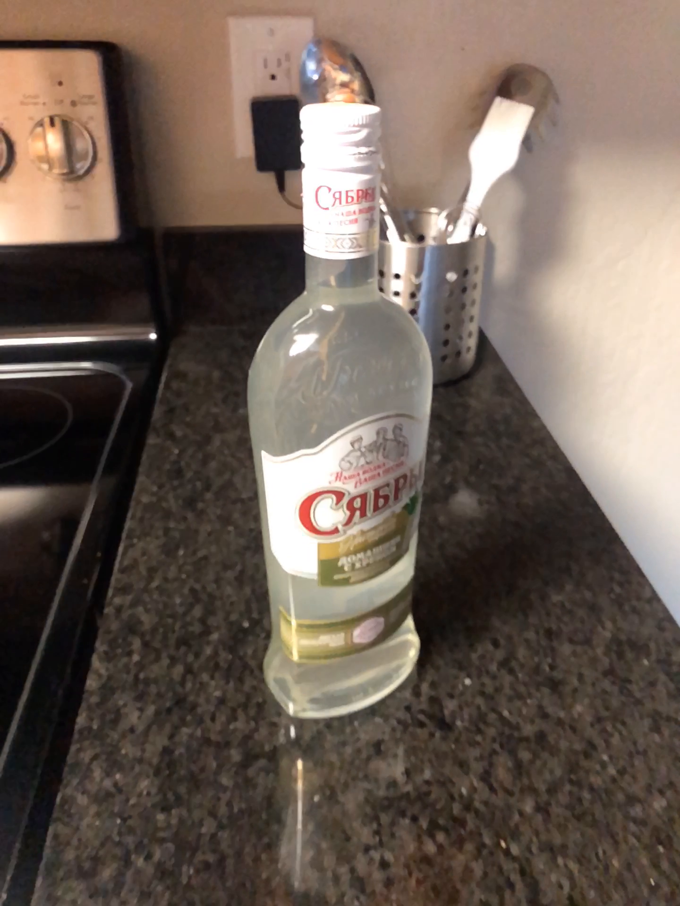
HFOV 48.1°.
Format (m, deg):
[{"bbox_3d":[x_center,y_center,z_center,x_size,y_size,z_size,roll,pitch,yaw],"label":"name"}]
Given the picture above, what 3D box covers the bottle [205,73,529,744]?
[{"bbox_3d":[0.008,-0.006,0.321,0.090,0.269,0.060,-13,33,-22],"label":"bottle"}]
